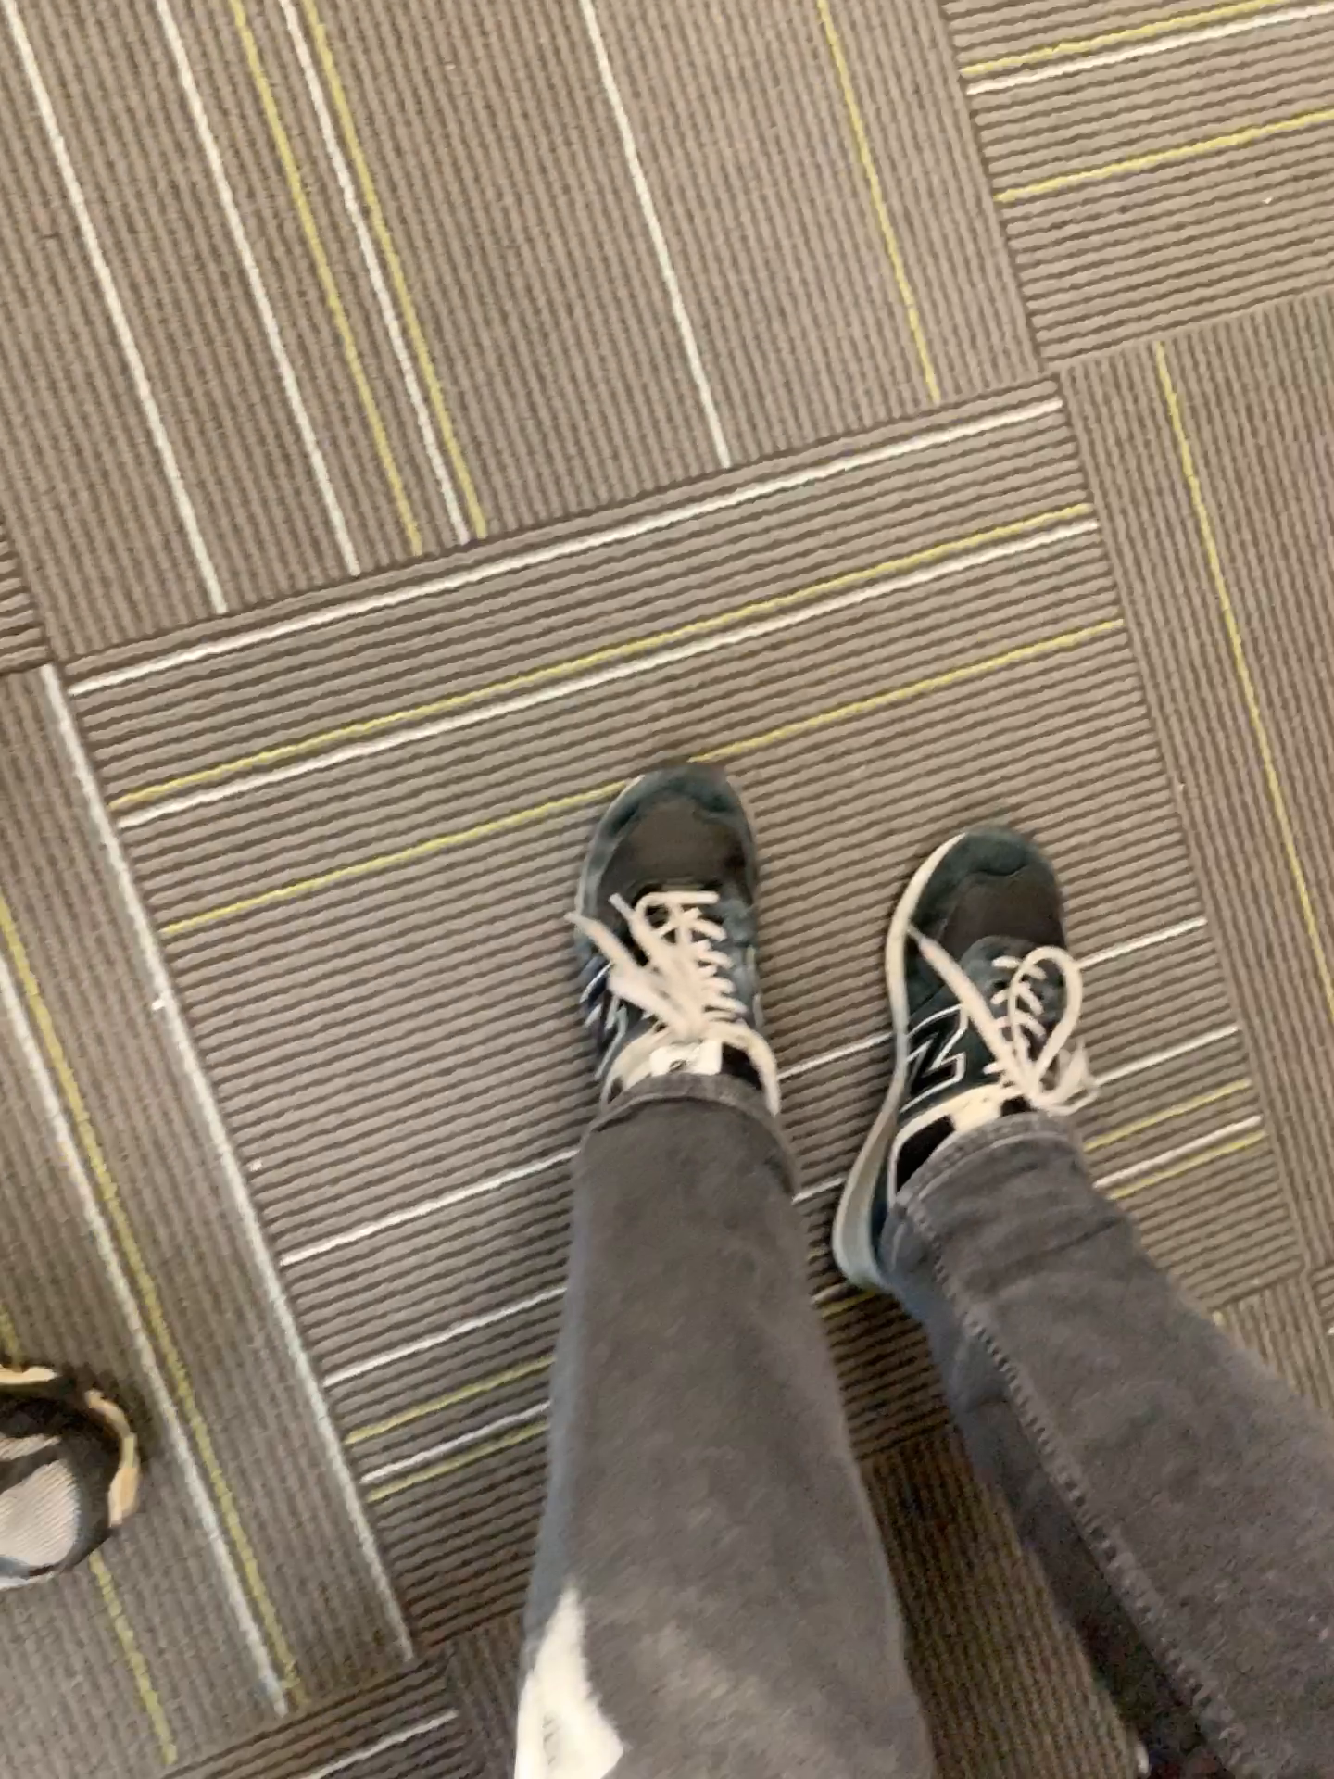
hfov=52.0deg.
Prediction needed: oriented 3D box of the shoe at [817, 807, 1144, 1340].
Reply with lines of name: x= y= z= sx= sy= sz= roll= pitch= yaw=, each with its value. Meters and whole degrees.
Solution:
shoe: x=0.186 y=0.107 z=0.823 sx=0.119 sy=0.071 sz=0.294 roll=11 pitch=90 yaw=-12

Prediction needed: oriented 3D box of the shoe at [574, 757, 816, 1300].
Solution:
shoe: x=0.013 y=0.075 z=0.786 sx=0.121 sy=0.071 sz=0.295 roll=1 pitch=93 yaw=-12
